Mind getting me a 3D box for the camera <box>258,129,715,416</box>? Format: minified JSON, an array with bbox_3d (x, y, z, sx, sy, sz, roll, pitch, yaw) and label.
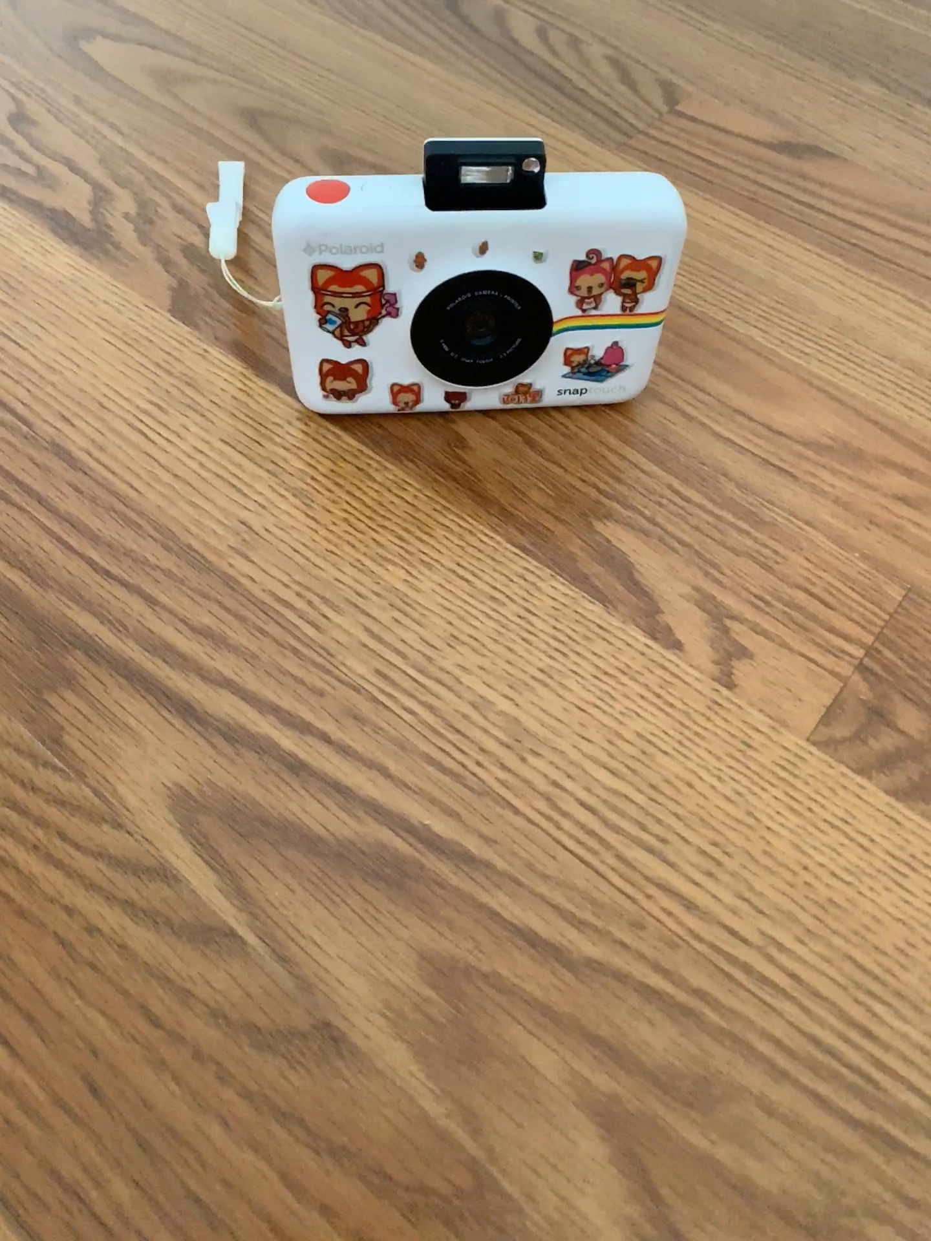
[{"bbox_3d":[0.004,-0.106,0.302,0.125,0.081,0.026,-4,57,-4],"label":"camera"}]
